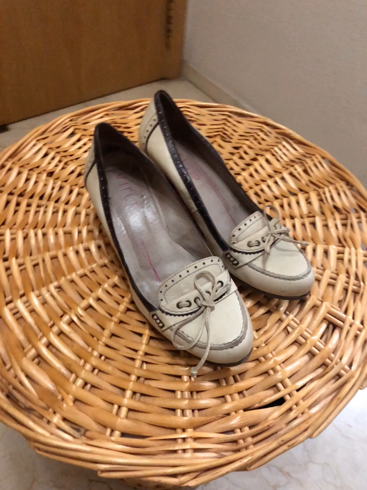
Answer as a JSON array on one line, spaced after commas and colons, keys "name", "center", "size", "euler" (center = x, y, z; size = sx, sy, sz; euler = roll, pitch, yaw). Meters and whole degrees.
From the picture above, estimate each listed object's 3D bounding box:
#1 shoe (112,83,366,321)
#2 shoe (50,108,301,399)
[{"name": "shoe", "center": [0.043, -0.059, 0.442], "size": [0.100, 0.090, 0.260], "euler": [-34, 62, -24]}, {"name": "shoe", "center": [-0.023, -0.005, 0.402], "size": [0.100, 0.110, 0.260], "euler": [-26, 58, -20]}]
